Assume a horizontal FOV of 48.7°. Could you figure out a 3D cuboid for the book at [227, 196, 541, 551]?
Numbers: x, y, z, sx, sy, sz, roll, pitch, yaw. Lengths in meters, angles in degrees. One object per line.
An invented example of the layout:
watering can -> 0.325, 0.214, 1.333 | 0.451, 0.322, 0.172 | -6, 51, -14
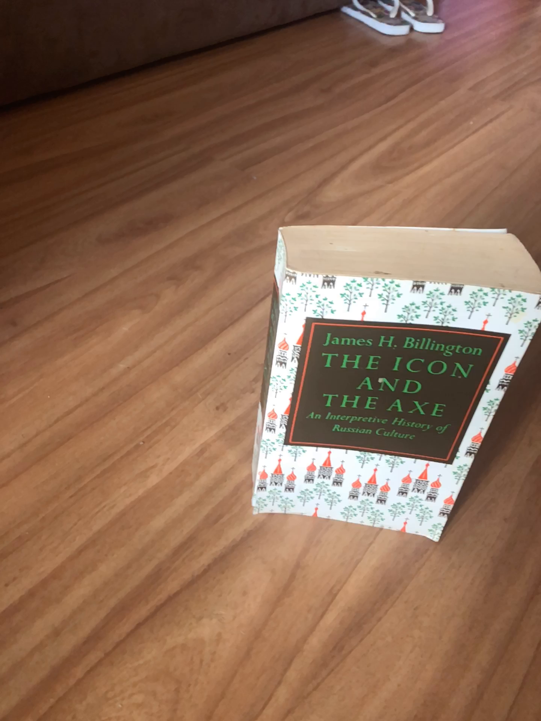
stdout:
book -> 0.057, 0.020, 0.346 | 0.150, 0.199, 0.060 | 7, 41, 0
